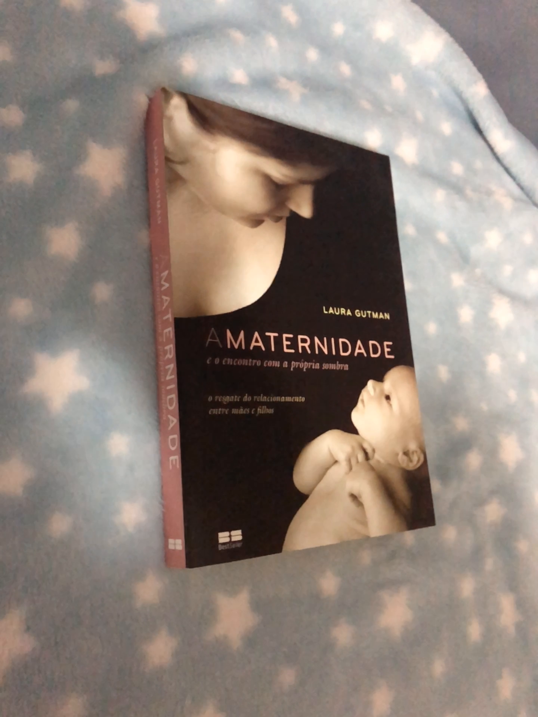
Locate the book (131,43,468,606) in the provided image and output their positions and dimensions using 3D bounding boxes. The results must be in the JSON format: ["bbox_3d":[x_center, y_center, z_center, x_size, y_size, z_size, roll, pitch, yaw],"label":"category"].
[{"bbox_3d":[0.017,-0.019,0.303,0.161,0.030,0.240,3,75,-34],"label":"book"}]
